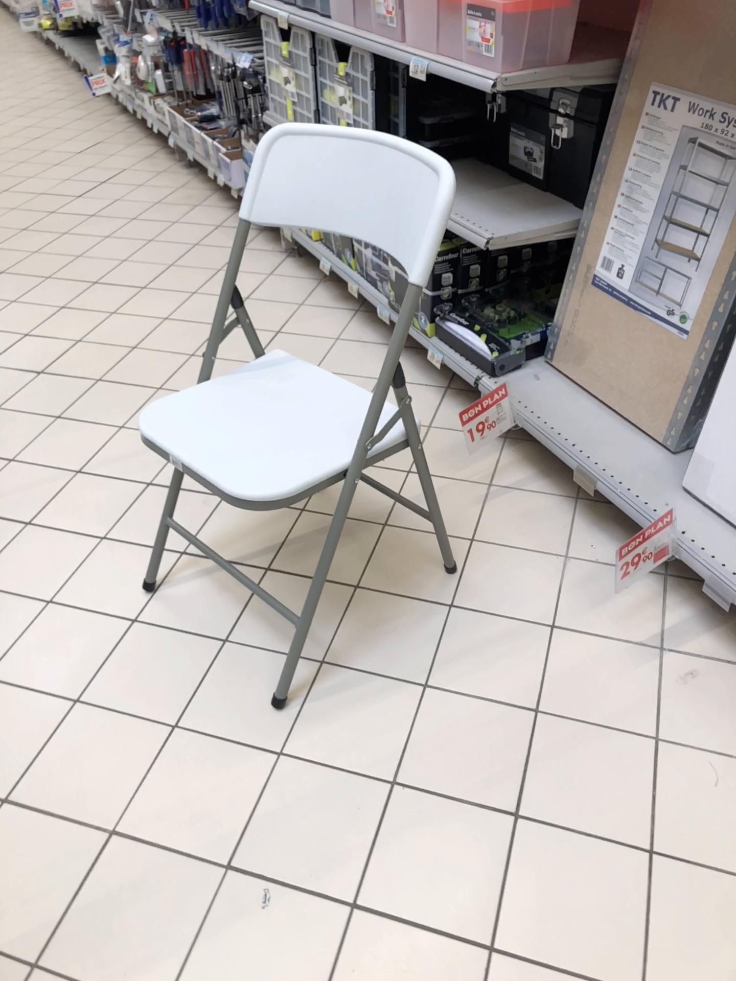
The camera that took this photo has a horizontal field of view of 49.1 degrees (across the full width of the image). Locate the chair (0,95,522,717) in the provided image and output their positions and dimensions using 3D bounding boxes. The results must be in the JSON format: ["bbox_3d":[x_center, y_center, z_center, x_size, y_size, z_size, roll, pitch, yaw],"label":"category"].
[{"bbox_3d":[-0.155,-0.173,1.366,0.563,0.745,0.541,-33,47,-32],"label":"chair"}]
